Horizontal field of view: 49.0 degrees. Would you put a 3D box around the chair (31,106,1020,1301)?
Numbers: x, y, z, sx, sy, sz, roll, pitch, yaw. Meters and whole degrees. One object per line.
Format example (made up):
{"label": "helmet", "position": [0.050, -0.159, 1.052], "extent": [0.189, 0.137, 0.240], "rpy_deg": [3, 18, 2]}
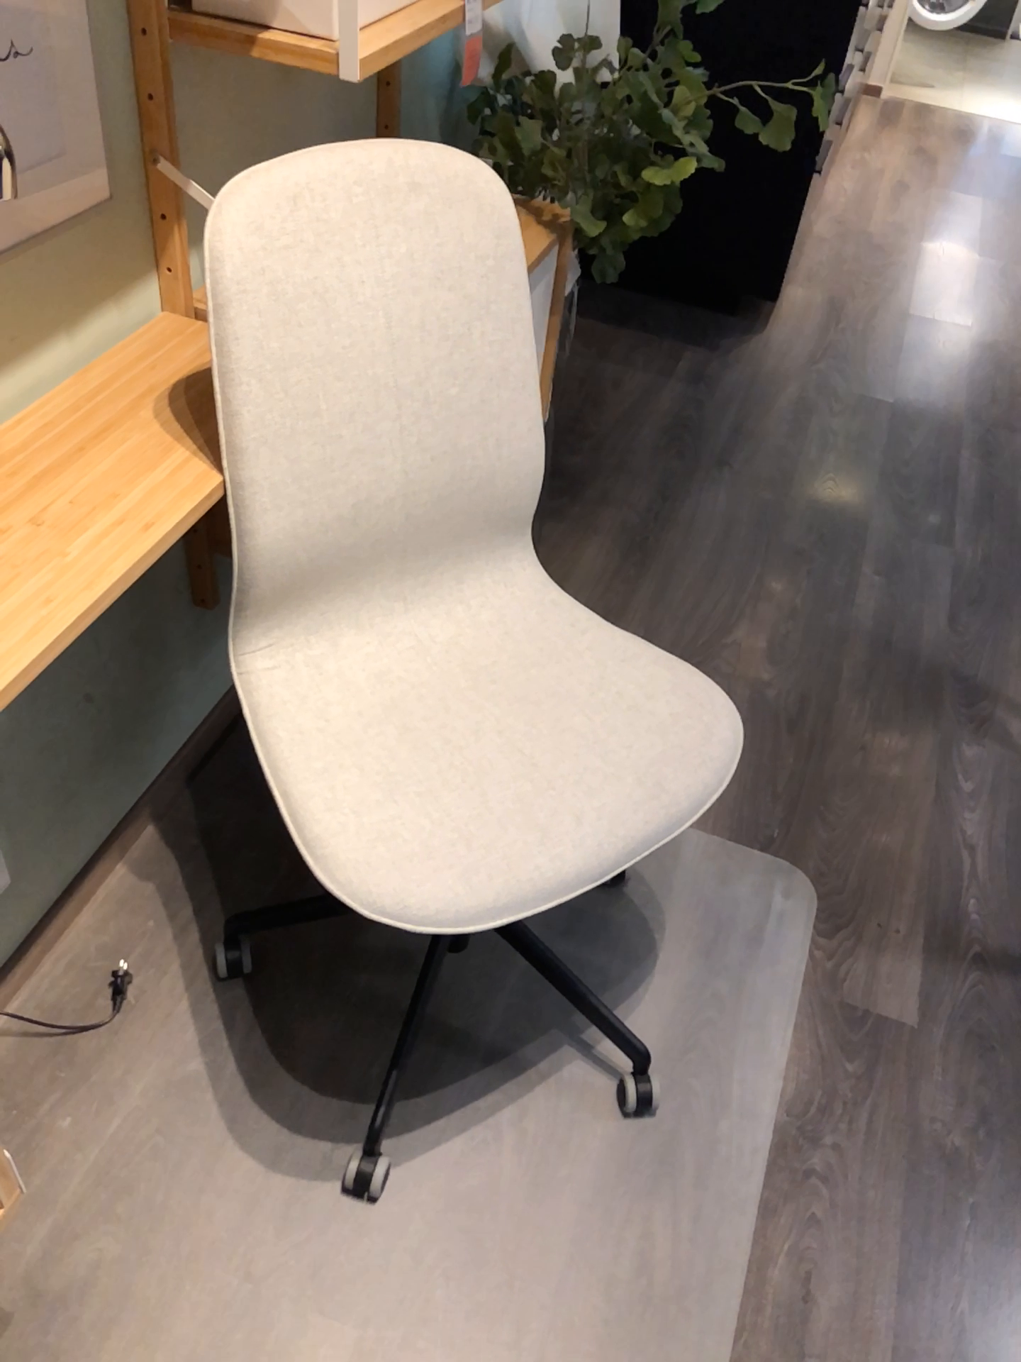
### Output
{"label": "chair", "position": [-0.008, 0.005, 1.172], "extent": [0.621, 0.904, 0.653], "rpy_deg": [-19, 49, -27]}
